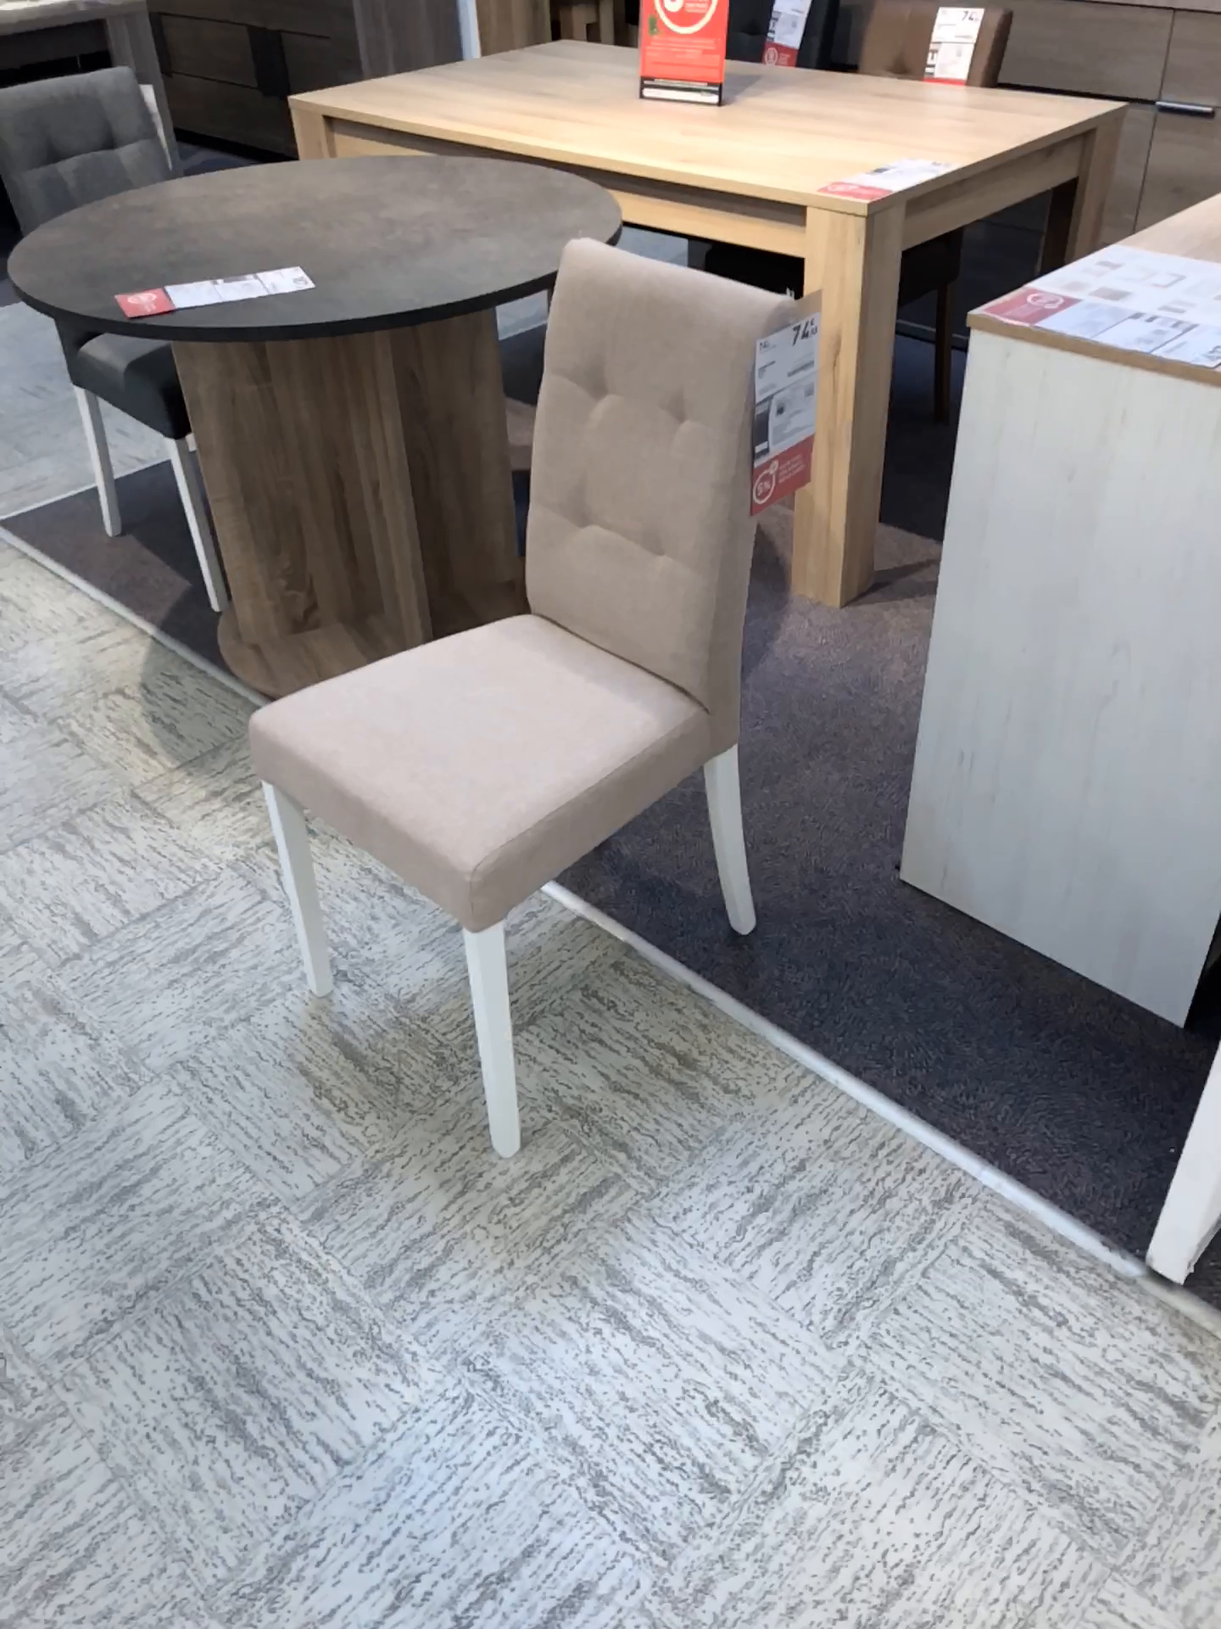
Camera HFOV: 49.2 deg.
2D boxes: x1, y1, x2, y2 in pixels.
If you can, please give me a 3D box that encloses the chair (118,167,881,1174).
[{"bbox_3d":[-0.076,-0.161,1.450,0.533,0.855,0.430,-32,46,-33],"label":"chair"}]
